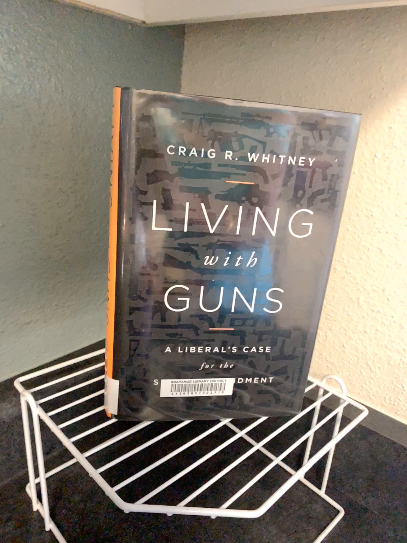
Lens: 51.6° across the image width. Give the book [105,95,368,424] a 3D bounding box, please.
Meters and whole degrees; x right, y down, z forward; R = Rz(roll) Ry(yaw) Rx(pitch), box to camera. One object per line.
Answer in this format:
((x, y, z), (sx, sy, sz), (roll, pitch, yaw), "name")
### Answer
((0.016, -0.001, 0.316), (0.171, 0.229, 0.040), (1, 15, -8), "book")
